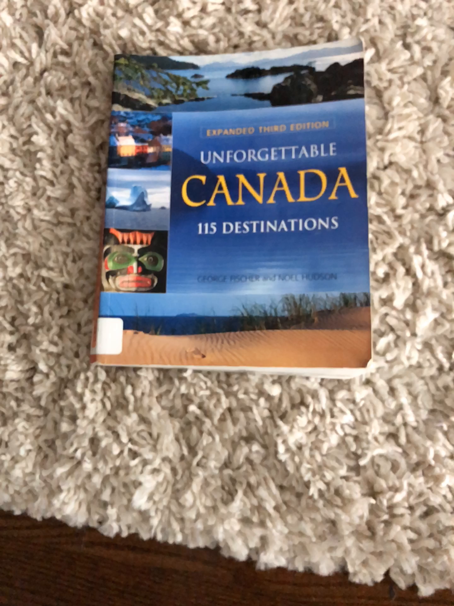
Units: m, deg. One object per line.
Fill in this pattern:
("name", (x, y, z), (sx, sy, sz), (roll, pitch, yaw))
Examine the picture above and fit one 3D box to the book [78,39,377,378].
("book", (0.003, -0.067, 0.374), (0.200, 0.040, 0.234), (1, 82, 9))
